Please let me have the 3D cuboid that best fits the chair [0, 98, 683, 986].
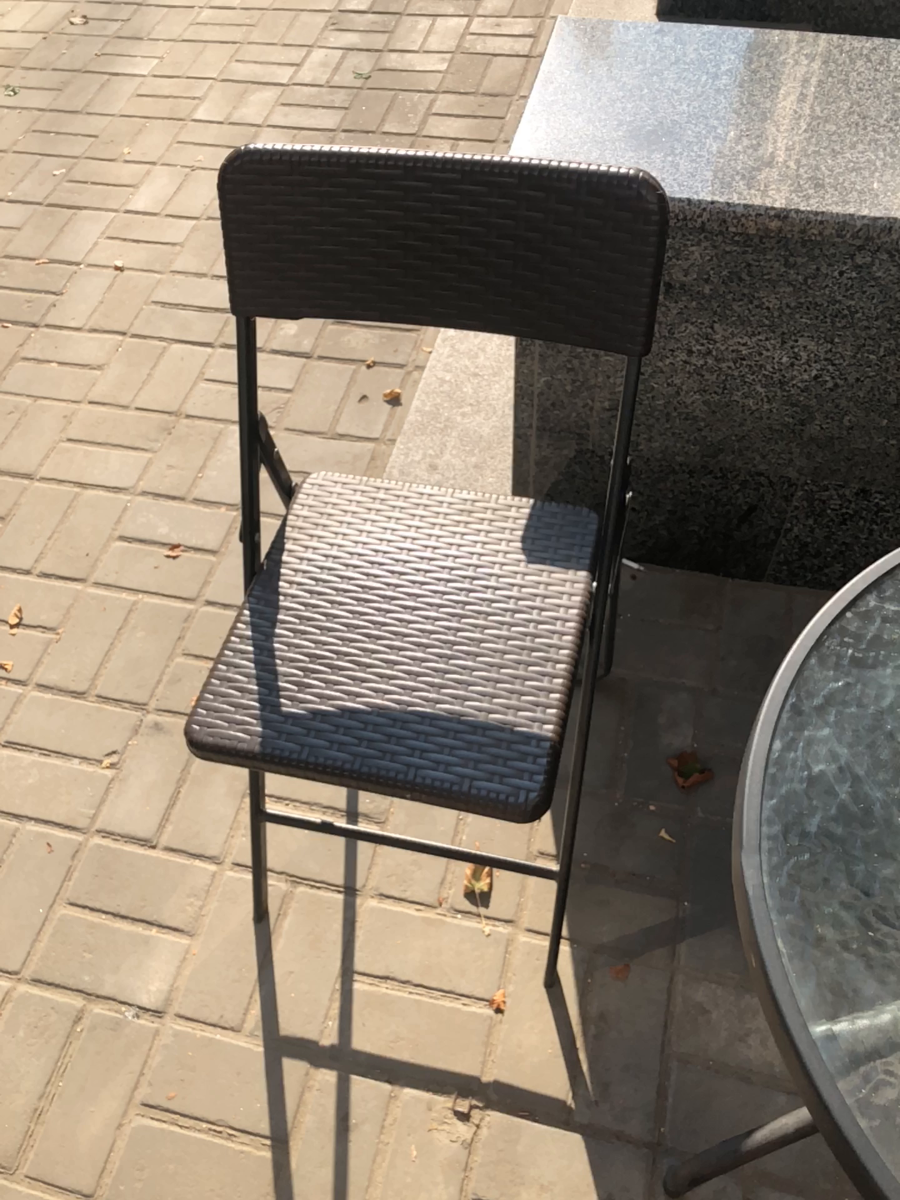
[{"bbox_3d":[-0.055,0.011,1.014,0.430,0.788,0.461,8,55,9],"label":"chair"}]
